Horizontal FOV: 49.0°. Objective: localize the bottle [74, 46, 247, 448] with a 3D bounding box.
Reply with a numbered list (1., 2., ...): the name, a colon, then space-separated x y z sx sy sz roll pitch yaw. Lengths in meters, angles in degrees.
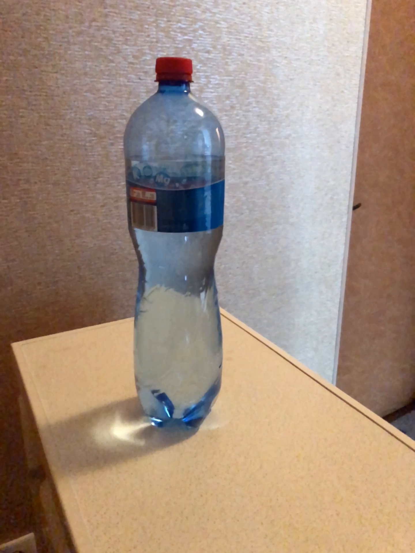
1. bottle: -0.034 -0.023 0.415 0.100 0.318 0.100 0 18 0
